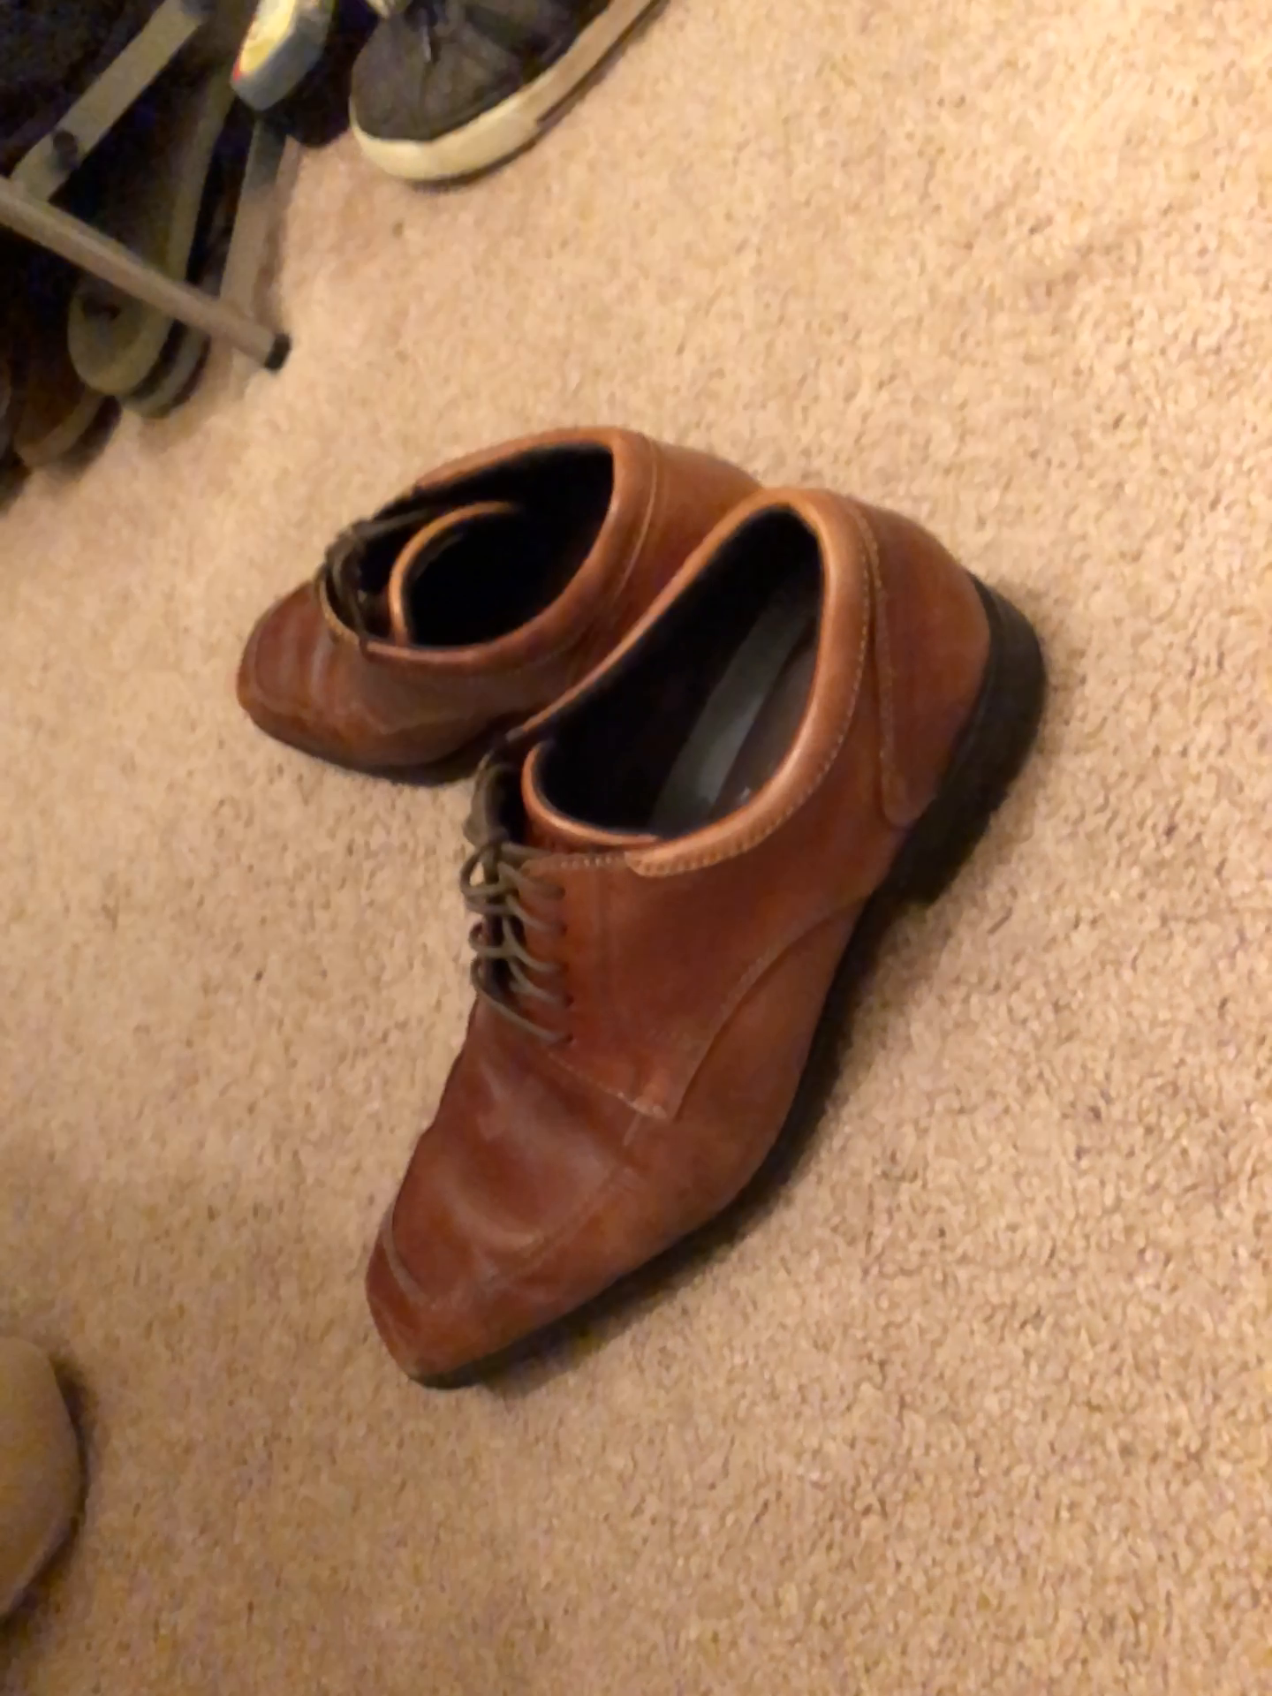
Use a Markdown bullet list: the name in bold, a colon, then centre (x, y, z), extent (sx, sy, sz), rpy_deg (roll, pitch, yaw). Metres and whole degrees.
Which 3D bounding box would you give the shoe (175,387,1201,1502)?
- **shoe**: centre (0.004, 0.041, 0.408), extent (0.300, 0.109, 0.100), rpy_deg (-54, 47, 14)

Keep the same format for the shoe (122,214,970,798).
- **shoe**: centre (-0.048, -0.099, 0.523), extent (0.301, 0.119, 0.120), rpy_deg (-1, 74, 43)
